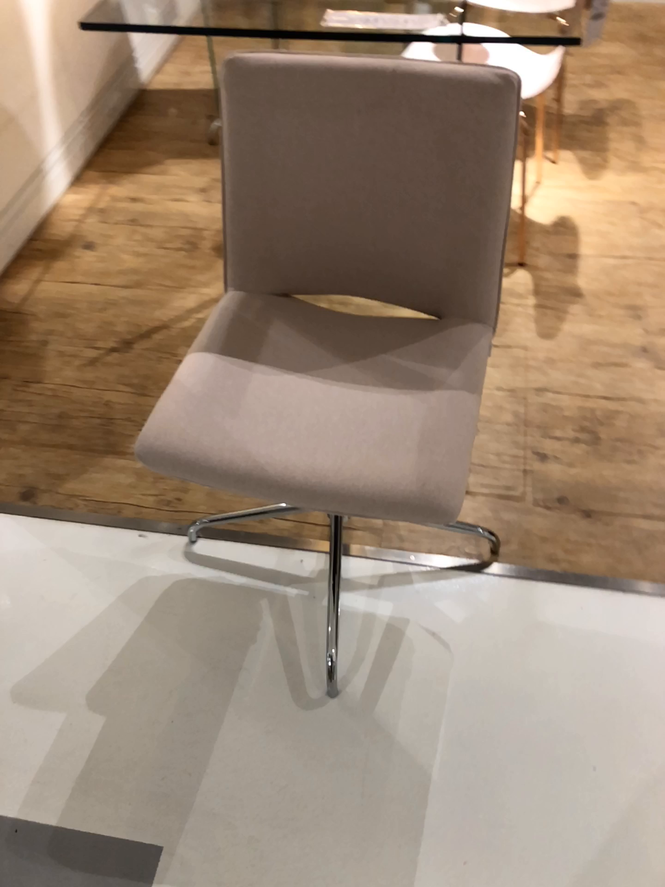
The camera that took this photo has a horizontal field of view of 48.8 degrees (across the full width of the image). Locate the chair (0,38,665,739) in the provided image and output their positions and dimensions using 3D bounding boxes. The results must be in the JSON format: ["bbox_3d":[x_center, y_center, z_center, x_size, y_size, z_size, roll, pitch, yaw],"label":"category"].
[{"bbox_3d":[0.031,-0.075,1.104,0.650,0.745,0.634,8,49,10],"label":"chair"}]
